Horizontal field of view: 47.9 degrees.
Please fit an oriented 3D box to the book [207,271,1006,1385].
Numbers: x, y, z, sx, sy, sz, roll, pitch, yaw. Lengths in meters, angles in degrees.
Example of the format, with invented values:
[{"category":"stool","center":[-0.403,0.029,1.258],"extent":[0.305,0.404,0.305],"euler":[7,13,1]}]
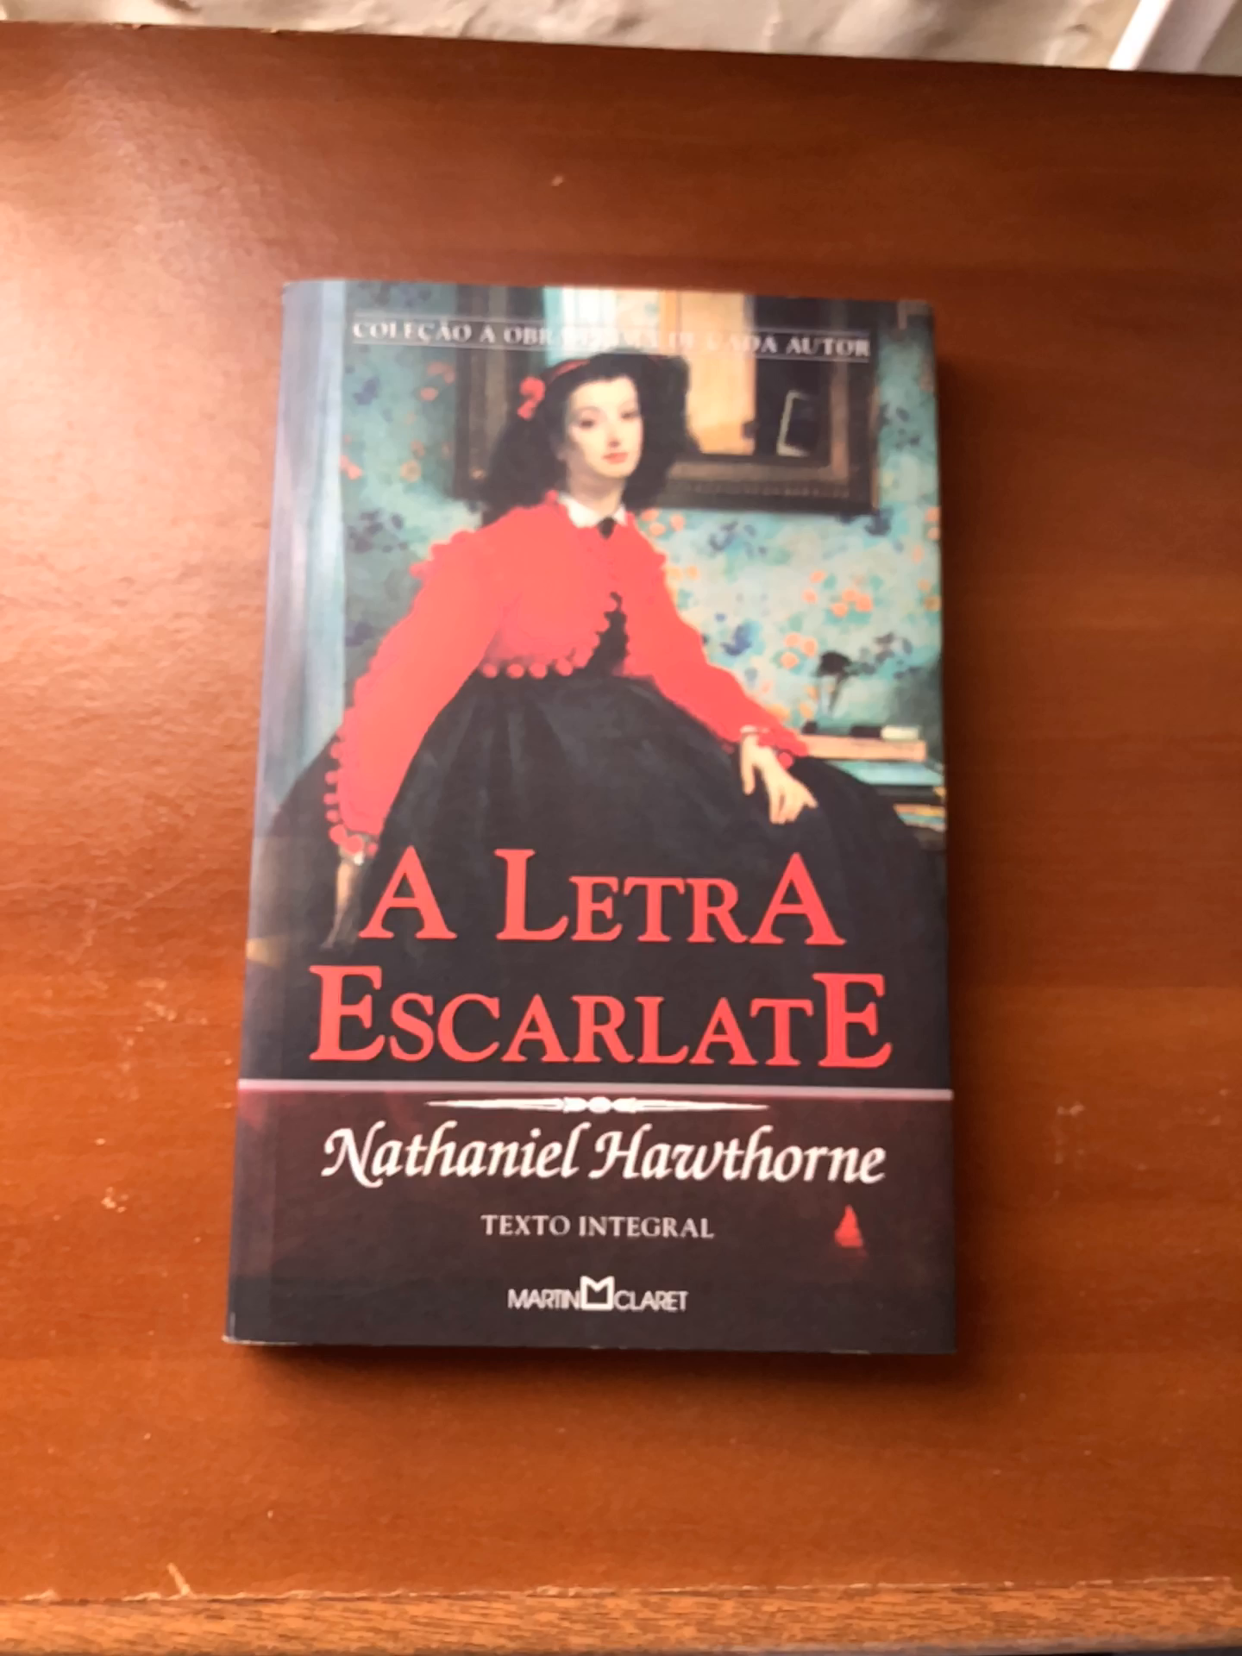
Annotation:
[{"category":"book","center":[0.000,-0.004,0.216],"extent":[0.111,0.015,0.166],"euler":[1,81,-1]}]
